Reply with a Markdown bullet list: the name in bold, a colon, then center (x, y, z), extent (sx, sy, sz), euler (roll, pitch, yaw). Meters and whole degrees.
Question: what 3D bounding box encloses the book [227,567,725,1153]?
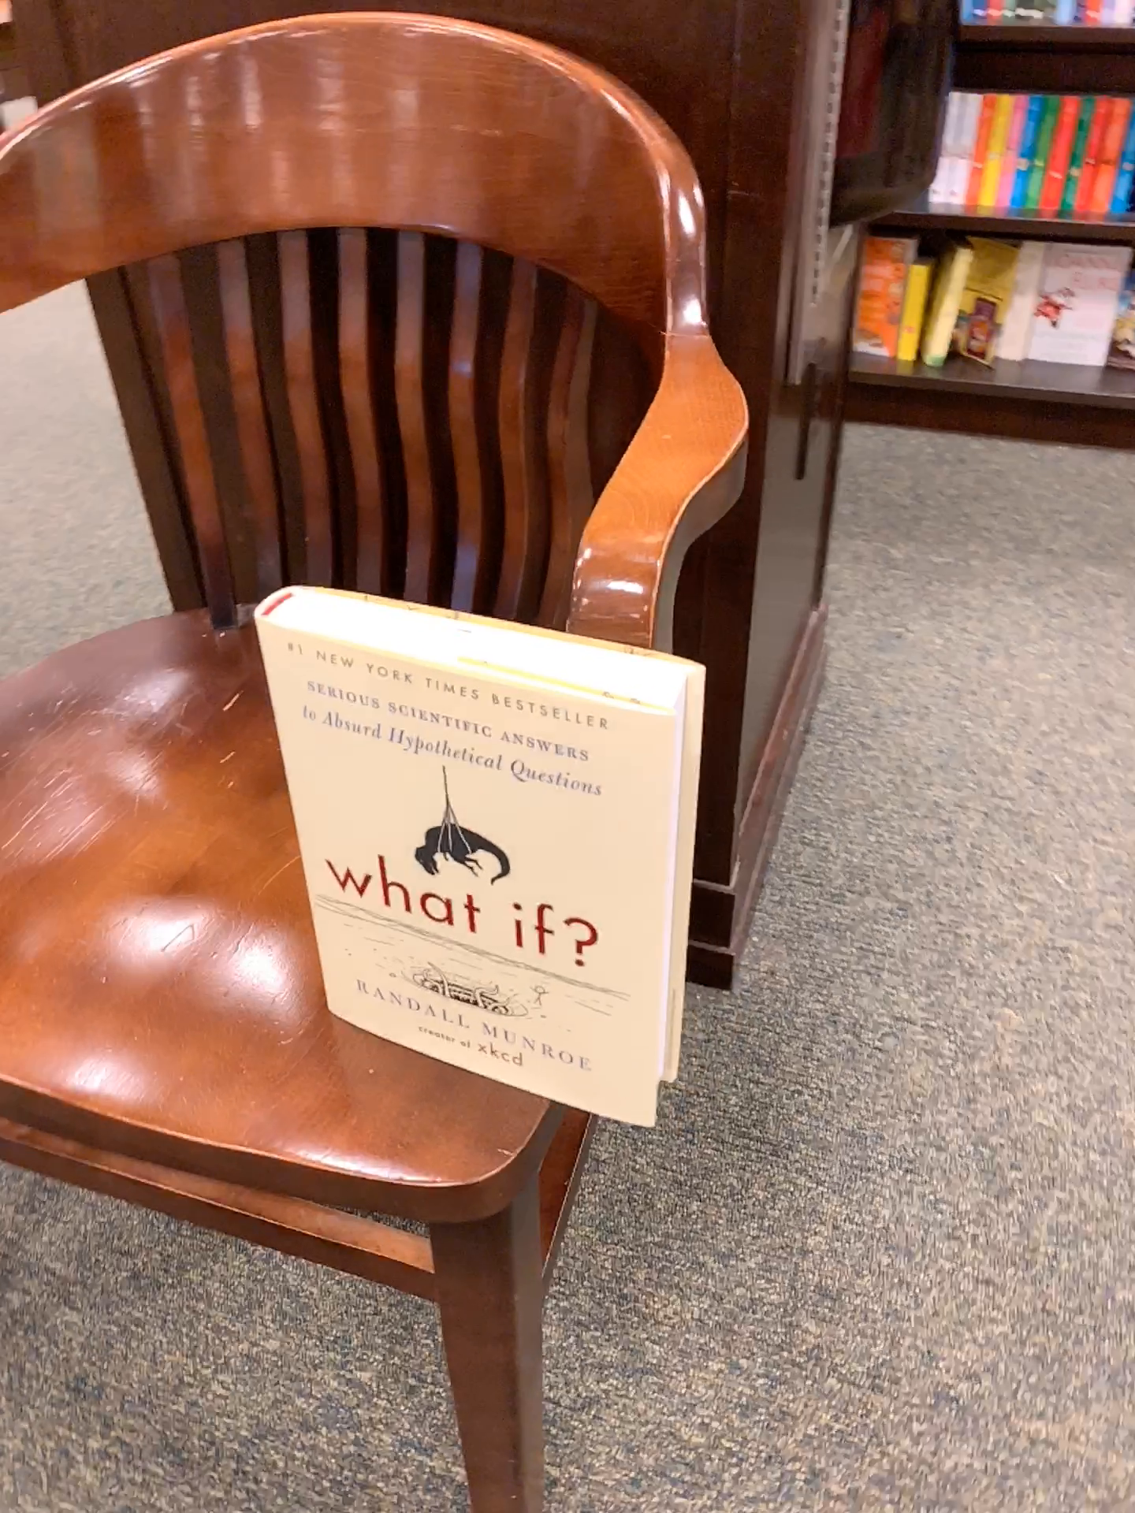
- **book**: center (-0.036, 0.051, 0.514), extent (0.188, 0.239, 0.050), euler (13, 38, 19)
